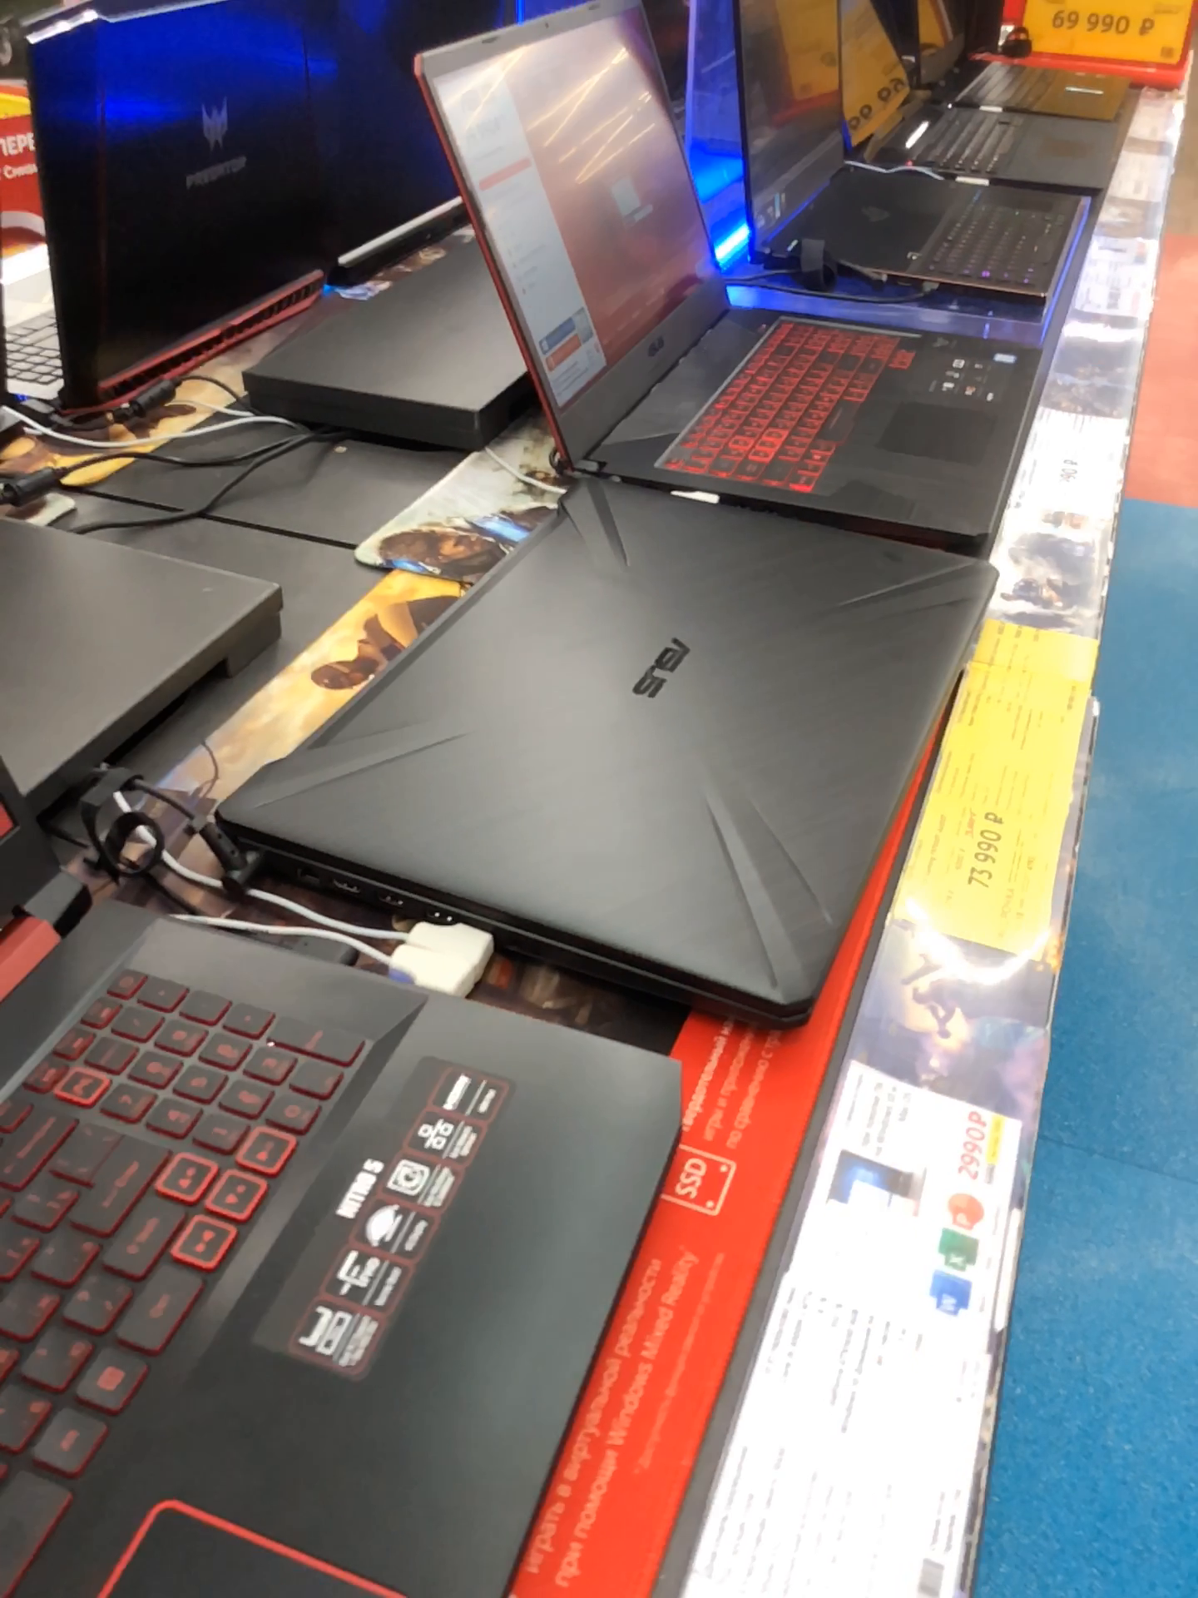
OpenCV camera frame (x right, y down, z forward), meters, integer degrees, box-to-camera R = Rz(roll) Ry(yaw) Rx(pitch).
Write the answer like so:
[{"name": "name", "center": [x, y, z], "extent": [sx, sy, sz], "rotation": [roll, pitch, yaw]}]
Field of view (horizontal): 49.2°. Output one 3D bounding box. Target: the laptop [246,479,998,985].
[{"name": "laptop", "center": [0.041, -0.070, 0.687], "extent": [0.261, 0.001, 0.387], "rotation": [16, 40, 18]}]
